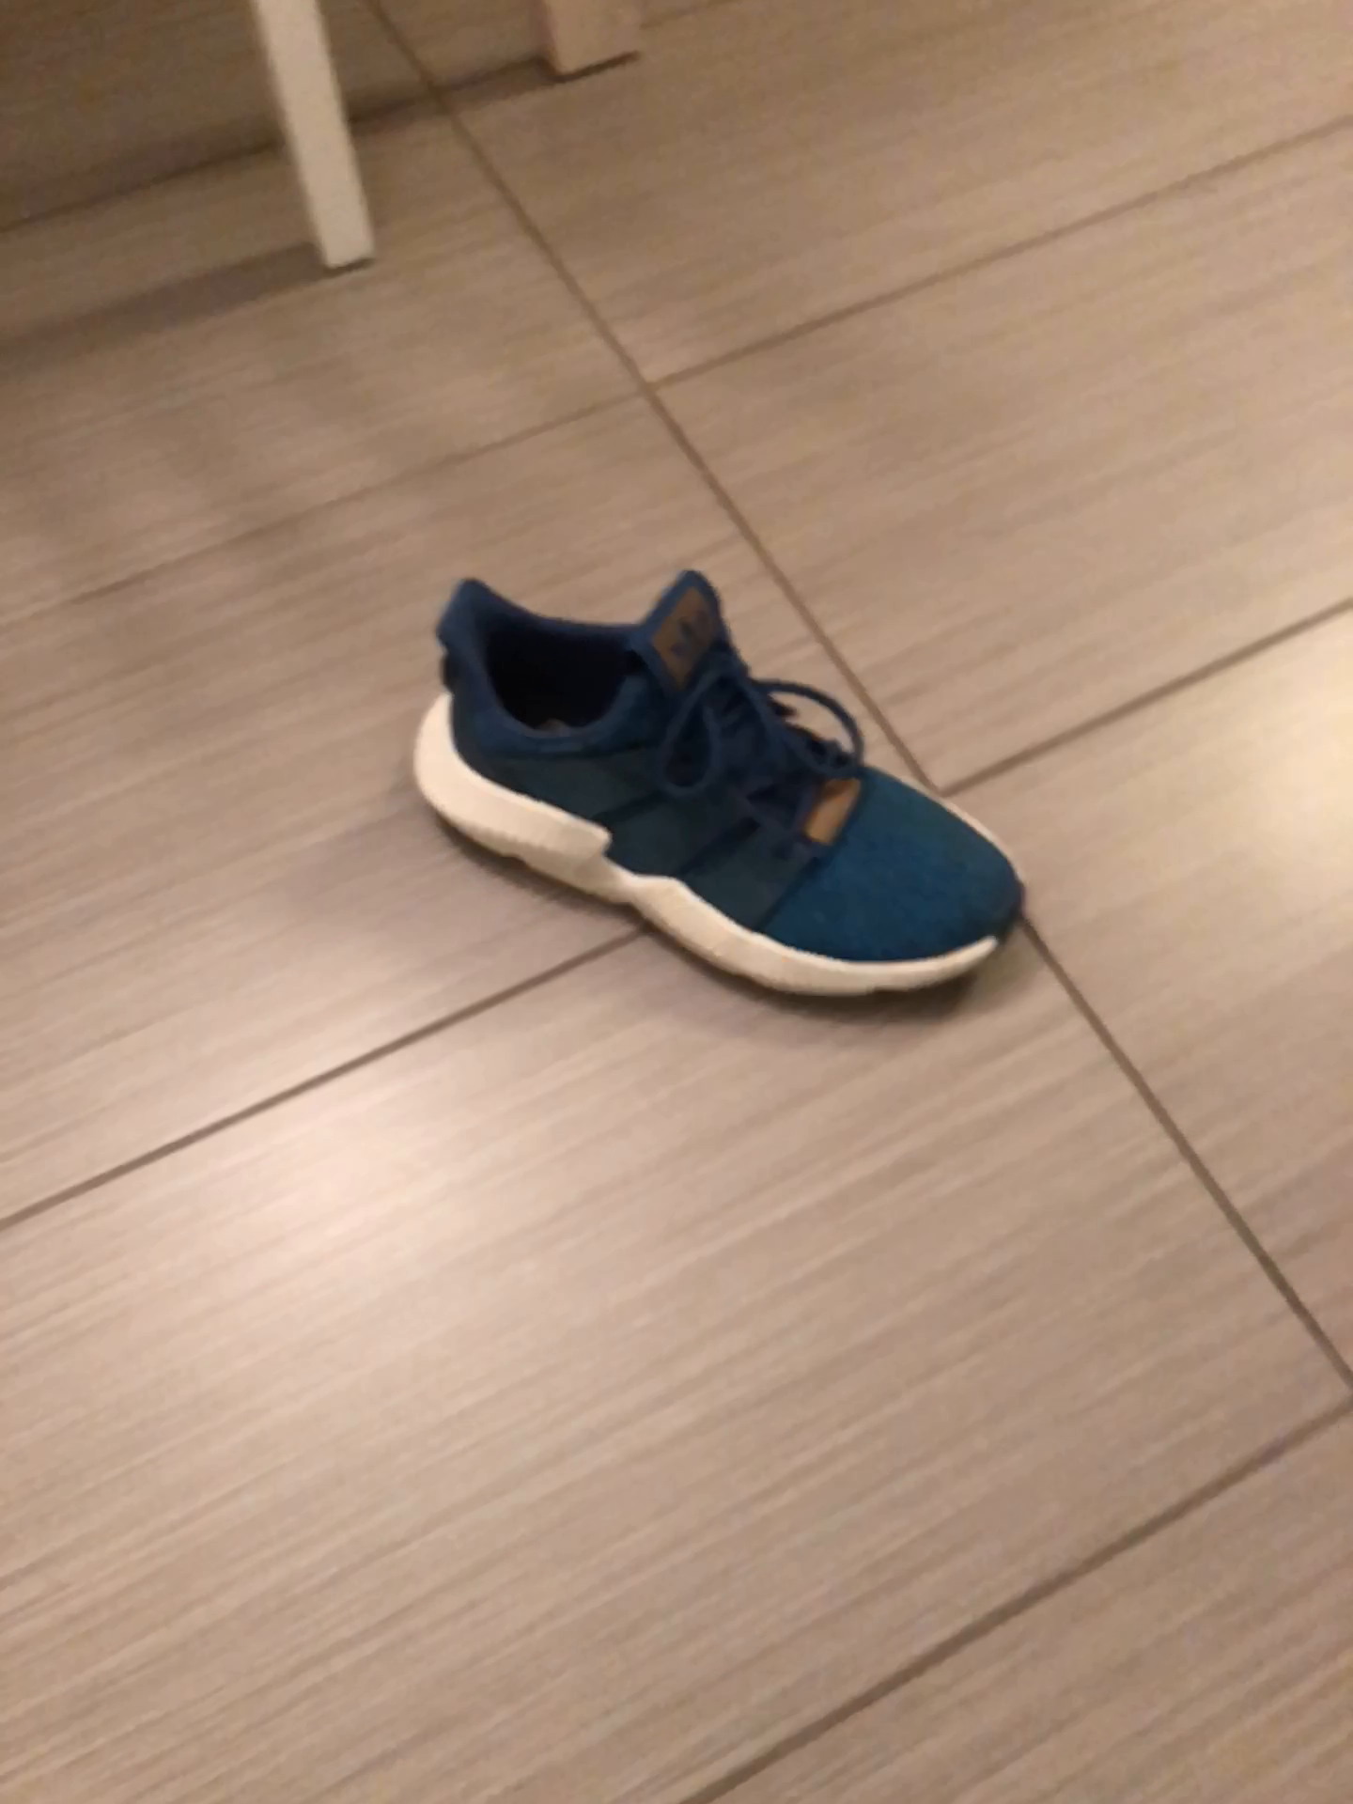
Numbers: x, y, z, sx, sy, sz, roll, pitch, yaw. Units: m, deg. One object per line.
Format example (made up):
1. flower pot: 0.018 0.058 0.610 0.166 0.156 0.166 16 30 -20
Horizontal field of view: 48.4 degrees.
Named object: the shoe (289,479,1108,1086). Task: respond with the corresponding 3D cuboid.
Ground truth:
1. shoe: 0.007 -0.051 0.622 0.290 0.120 0.112 22 63 13
